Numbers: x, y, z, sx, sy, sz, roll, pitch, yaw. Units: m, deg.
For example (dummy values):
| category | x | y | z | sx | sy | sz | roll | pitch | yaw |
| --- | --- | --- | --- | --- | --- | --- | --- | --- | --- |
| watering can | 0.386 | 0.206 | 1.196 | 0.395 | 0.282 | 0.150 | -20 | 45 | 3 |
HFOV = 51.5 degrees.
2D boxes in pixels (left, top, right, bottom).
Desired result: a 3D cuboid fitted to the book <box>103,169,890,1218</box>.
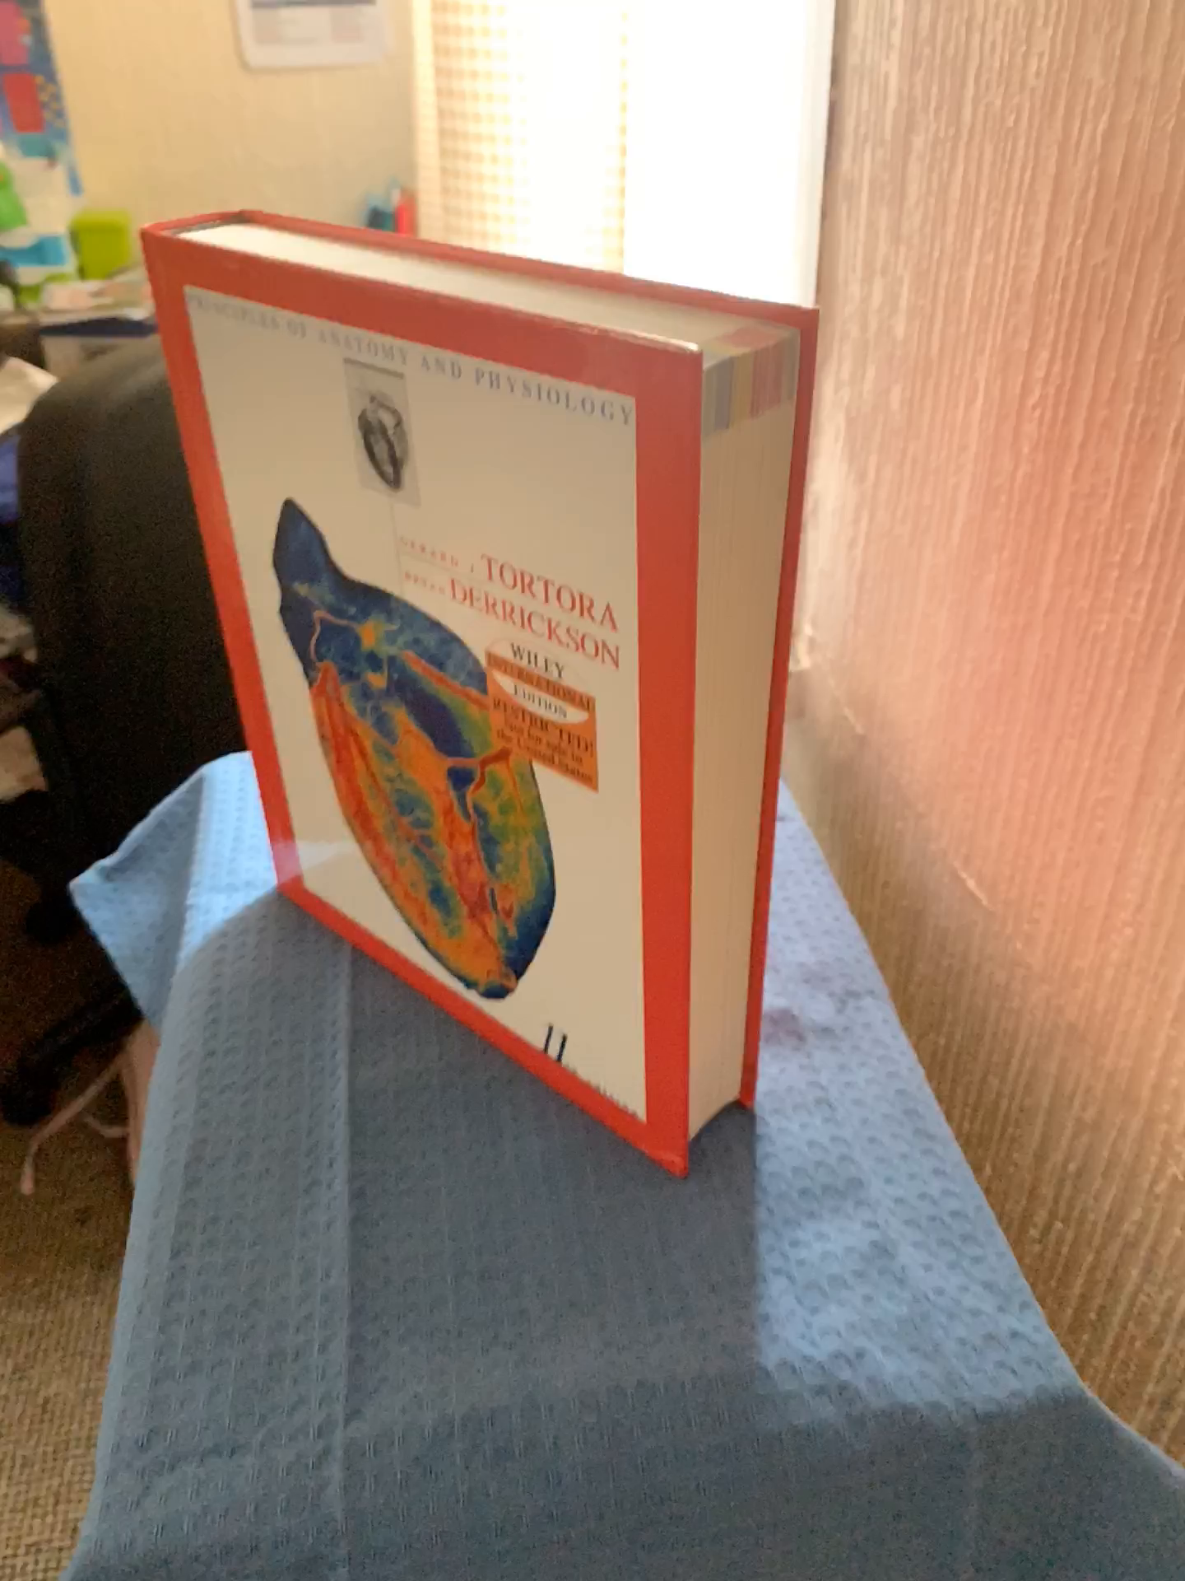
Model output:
| category | x | y | z | sx | sy | sz | roll | pitch | yaw |
| --- | --- | --- | --- | --- | --- | --- | --- | --- | --- |
| book | -0.045 | -0.041 | 0.424 | 0.261 | 0.287 | 0.060 | 27 | 42 | 35 |
